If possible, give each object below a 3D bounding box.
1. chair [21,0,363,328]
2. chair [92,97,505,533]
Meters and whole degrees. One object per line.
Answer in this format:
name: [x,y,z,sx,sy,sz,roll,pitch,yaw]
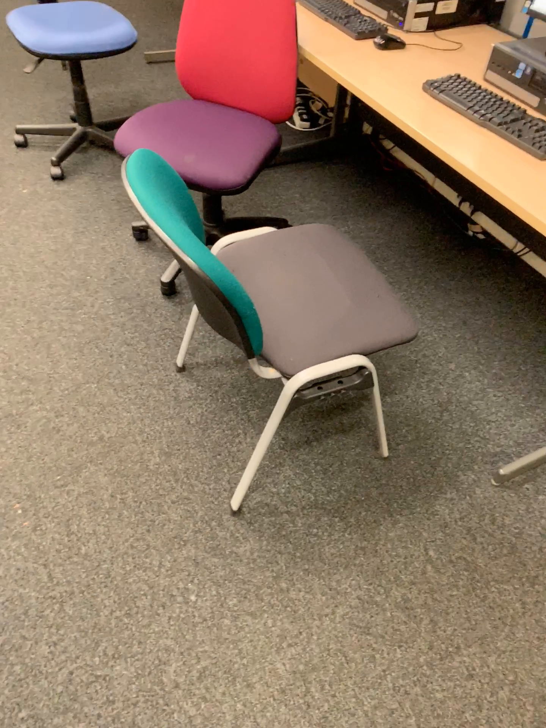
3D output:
chair: [-0.194,-0.734,1.759,0.653,0.860,0.674,18,48,12]
chair: [-0.004,-0.117,1.297,0.599,0.721,0.556,-15,50,-19]
